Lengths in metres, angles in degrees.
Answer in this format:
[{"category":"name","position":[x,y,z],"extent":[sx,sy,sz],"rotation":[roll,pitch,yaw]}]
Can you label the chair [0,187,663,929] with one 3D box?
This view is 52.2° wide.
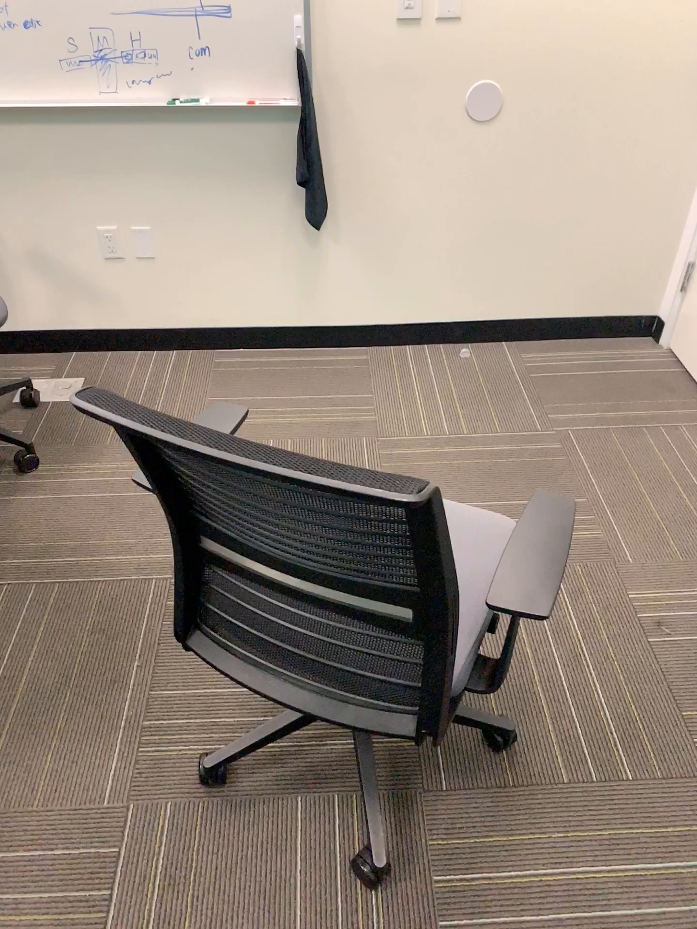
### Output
[{"category":"chair","position":[0.016,0.183,1.223],"extent":[0.651,0.994,0.693],"rotation":[17,43,20]}]
